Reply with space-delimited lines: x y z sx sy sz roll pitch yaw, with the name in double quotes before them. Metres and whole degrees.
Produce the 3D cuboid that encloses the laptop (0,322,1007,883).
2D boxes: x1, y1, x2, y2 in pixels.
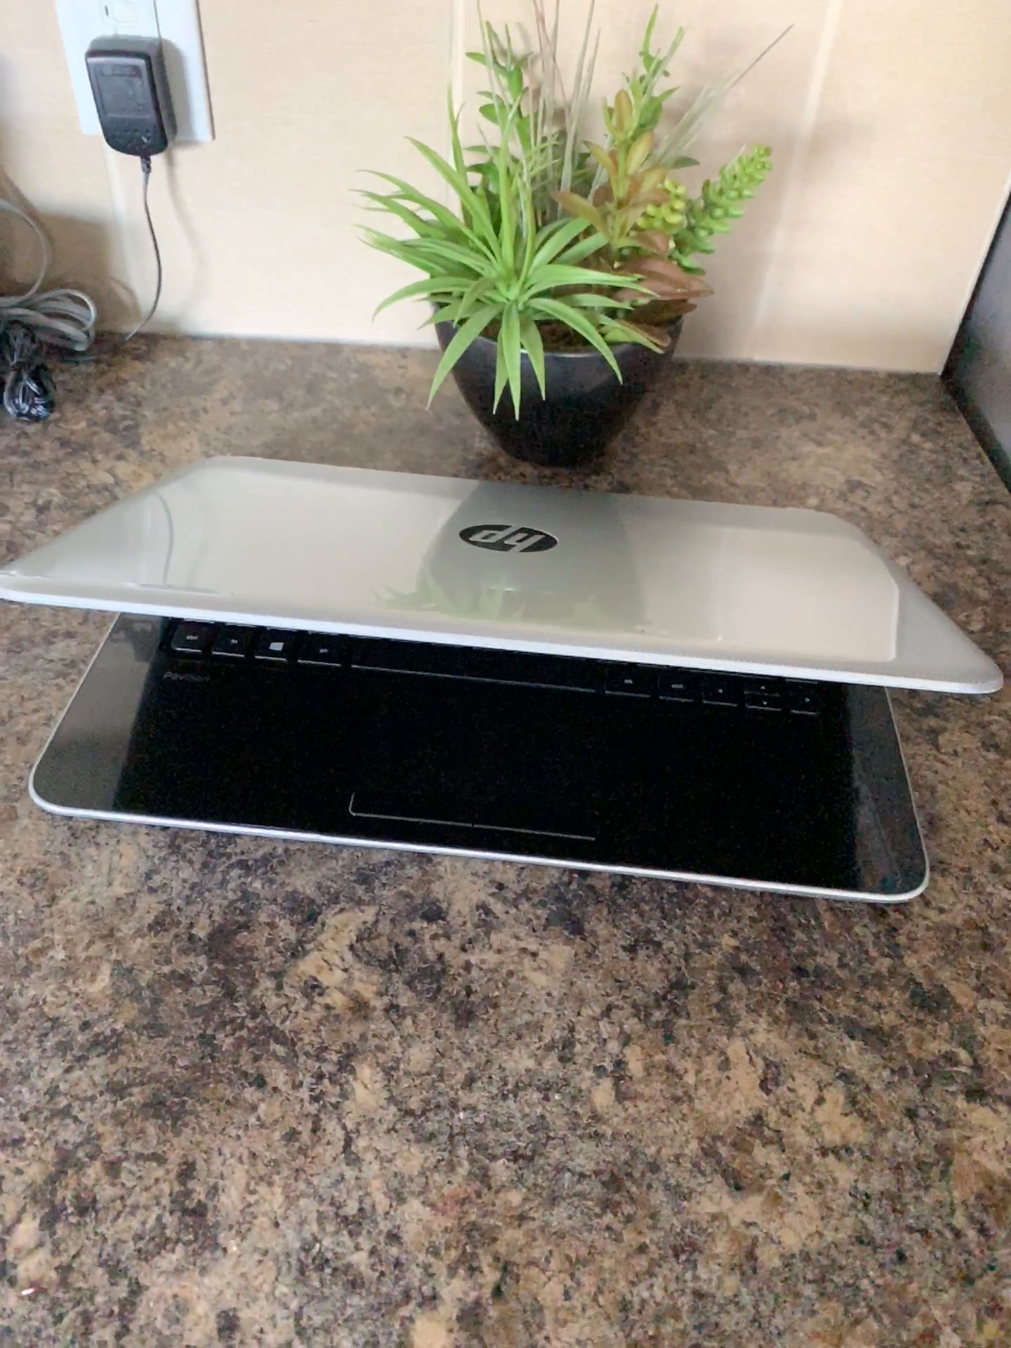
"laptop" -0.001 -0.042 0.424 0.328 0.080 0.208 5 46 2
